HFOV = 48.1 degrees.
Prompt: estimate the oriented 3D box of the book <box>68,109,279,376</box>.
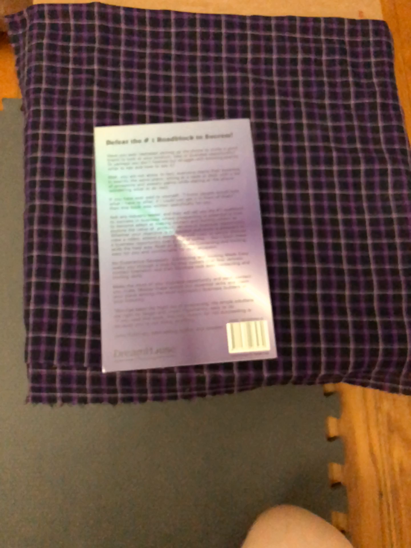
[{"bbox_3d":[-0.031,-0.032,0.395,0.160,0.020,0.220,-5,78,-3],"label":"book"}]
